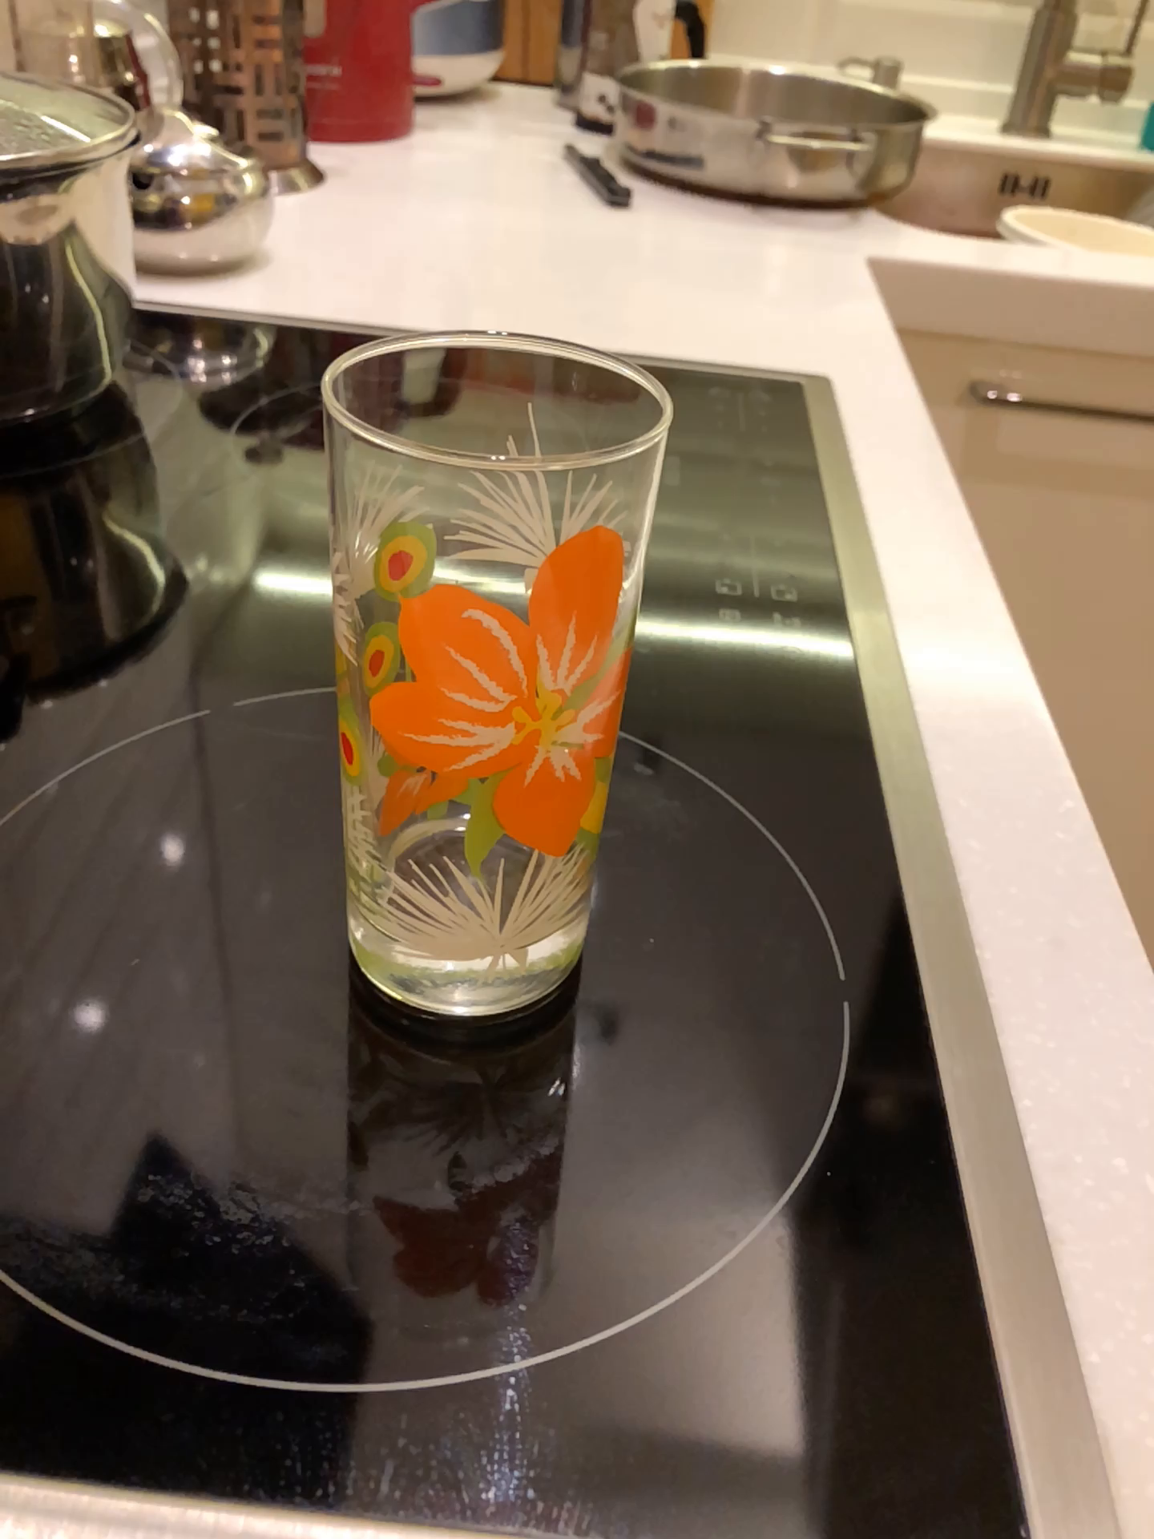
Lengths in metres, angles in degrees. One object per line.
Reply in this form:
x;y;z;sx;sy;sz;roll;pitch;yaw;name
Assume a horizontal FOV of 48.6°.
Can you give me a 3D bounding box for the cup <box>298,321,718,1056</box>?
-0.020;-0.012;0.267;0.066;0.138;0.063;4;36;-3;cup
